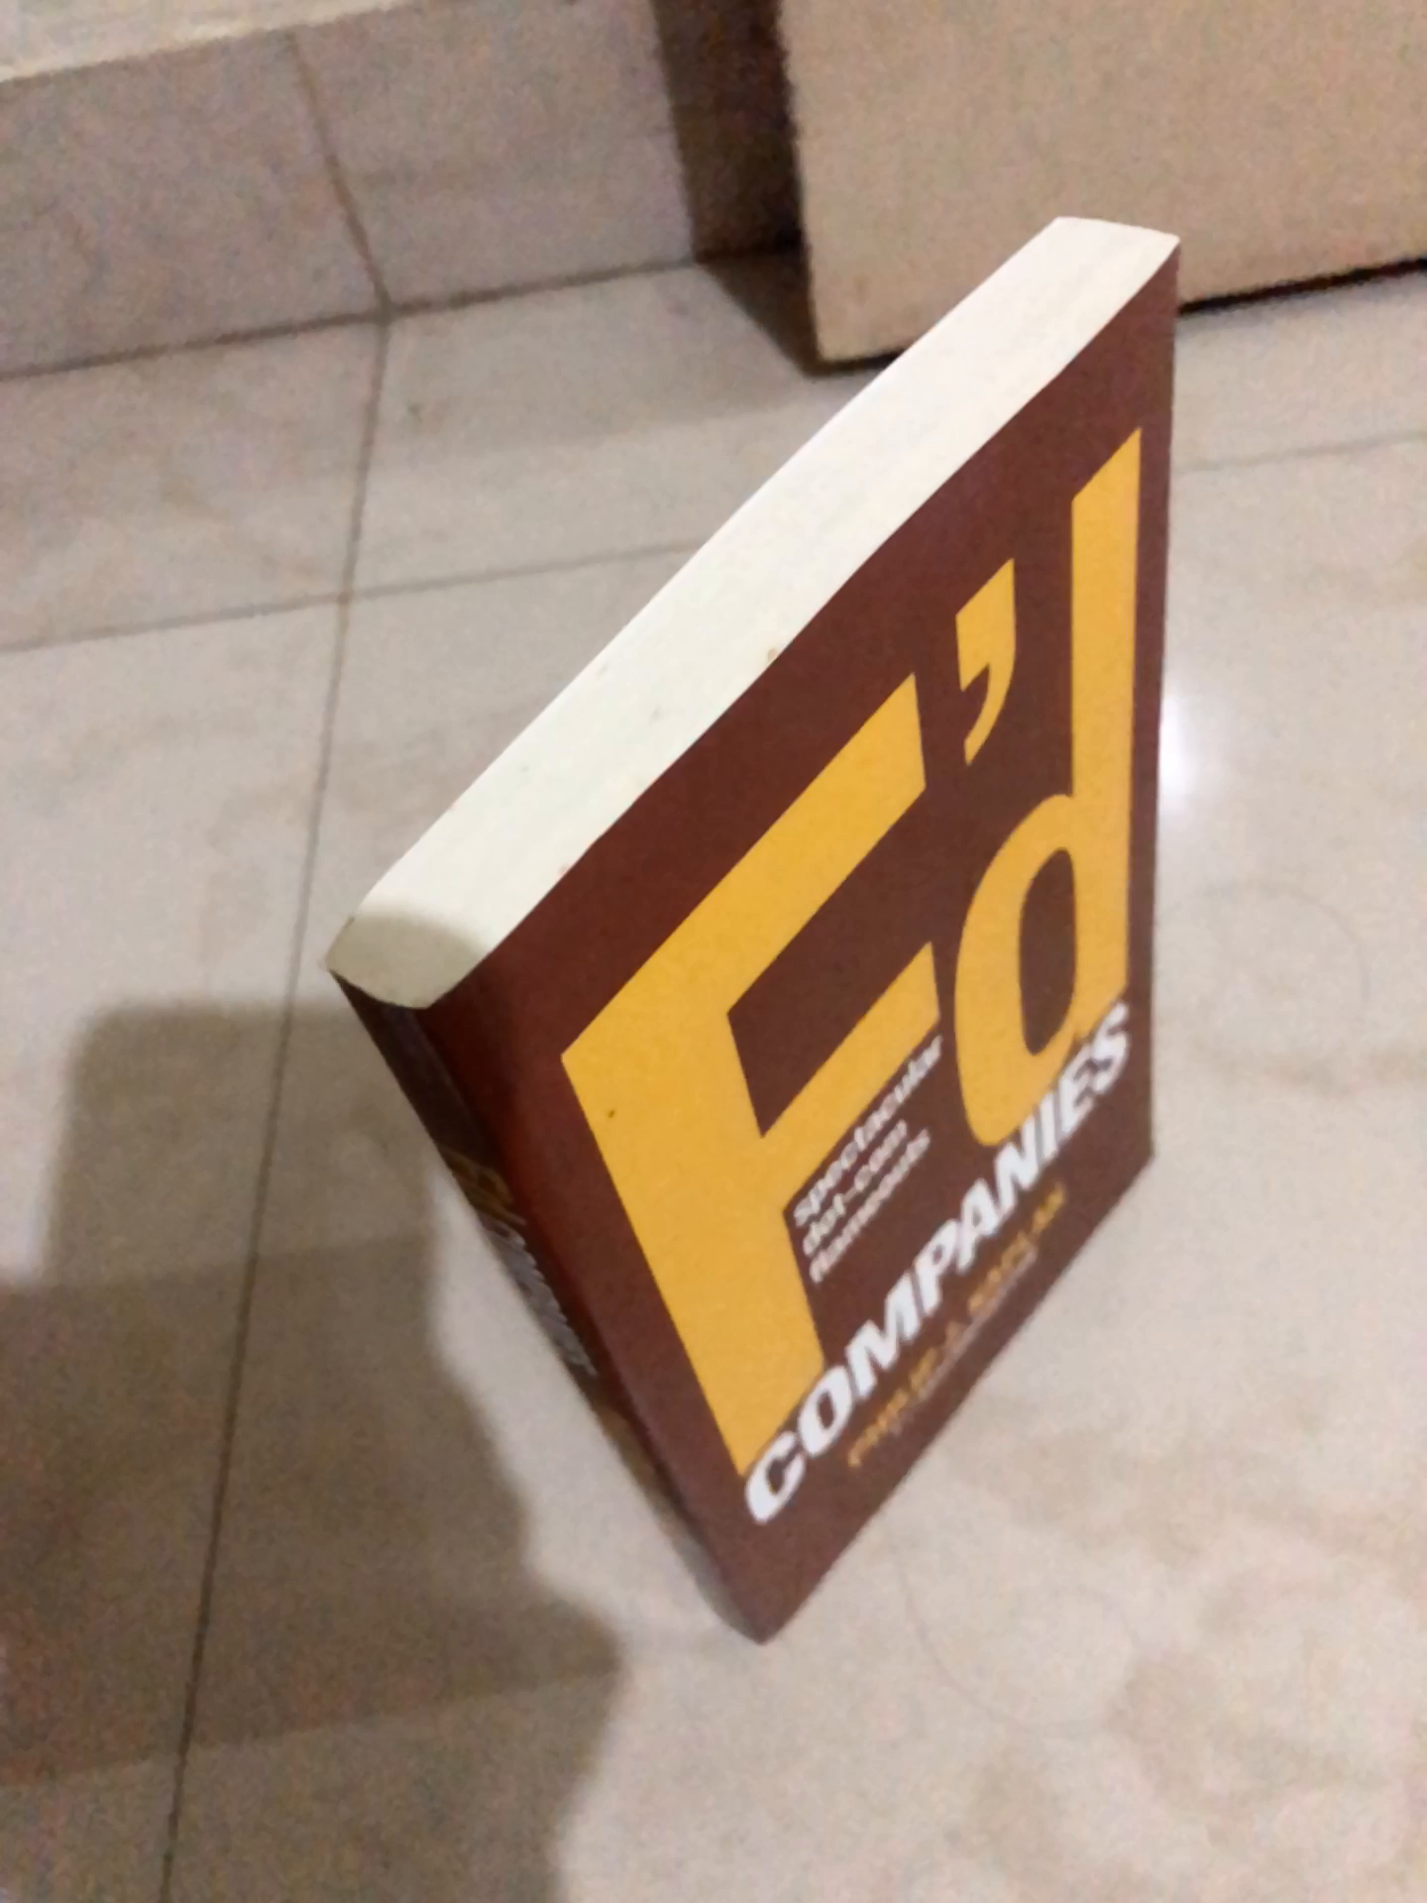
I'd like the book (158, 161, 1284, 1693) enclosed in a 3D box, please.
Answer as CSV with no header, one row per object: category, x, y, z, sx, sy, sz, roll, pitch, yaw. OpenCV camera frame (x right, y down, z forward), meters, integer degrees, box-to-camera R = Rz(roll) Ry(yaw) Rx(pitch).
book,0.023,0.019,0.232,0.030,0.200,0.130,32,65,30
